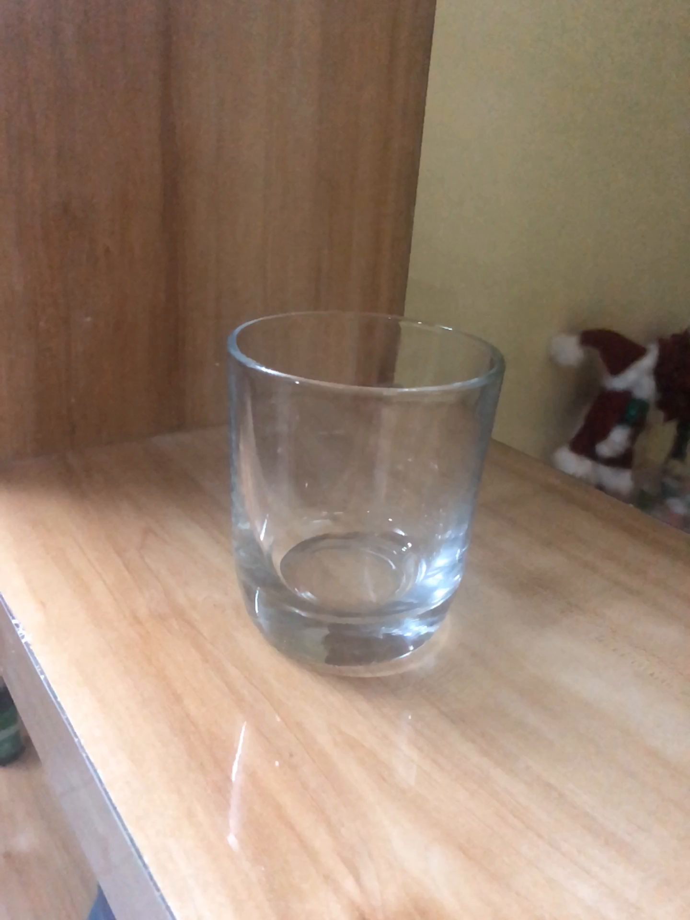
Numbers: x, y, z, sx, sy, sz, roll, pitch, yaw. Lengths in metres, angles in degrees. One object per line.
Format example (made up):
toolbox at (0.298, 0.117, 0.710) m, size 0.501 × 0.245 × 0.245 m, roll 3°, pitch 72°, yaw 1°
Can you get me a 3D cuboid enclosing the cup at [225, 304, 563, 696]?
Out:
cup at (0.005, 0.006, 0.247) m, size 0.080 × 0.090 × 0.090 m, roll -1°, pitch 24°, yaw -12°
